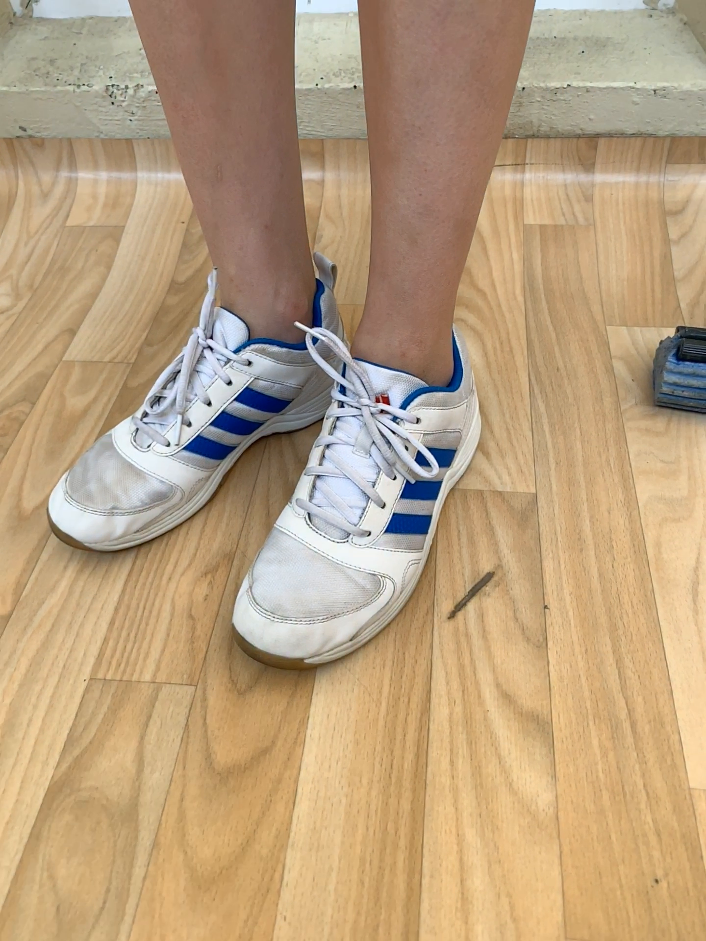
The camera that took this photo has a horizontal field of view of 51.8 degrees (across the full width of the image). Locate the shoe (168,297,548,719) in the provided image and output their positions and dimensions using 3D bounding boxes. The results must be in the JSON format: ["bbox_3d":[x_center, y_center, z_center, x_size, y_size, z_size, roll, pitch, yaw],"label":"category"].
[{"bbox_3d":[0.018,0.006,0.462,0.100,0.090,0.261,24,52,23],"label":"shoe"}]

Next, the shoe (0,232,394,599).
[{"bbox_3d":[-0.101,-0.049,0.511,0.260,0.120,0.100,-33,54,-26],"label":"shoe"}]
